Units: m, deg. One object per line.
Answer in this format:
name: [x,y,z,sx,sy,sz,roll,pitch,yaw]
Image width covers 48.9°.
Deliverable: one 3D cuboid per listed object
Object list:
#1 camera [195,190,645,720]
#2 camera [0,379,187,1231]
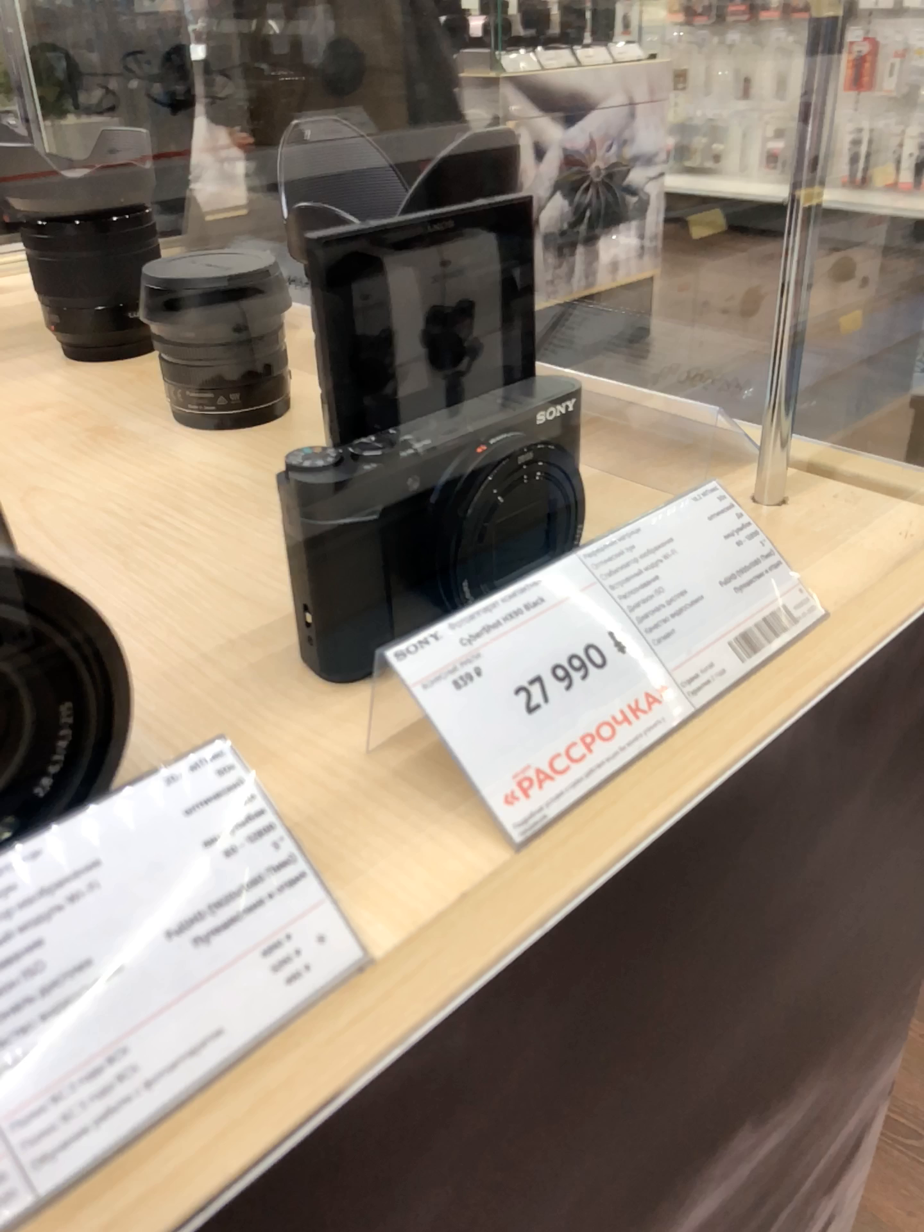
camera: [-0.005,-0.048,0.269,0.100,0.107,0.050,-27,38,-37]
camera: [-0.158,0.017,0.213,0.133,0.078,0.136,-27,38,-37]
